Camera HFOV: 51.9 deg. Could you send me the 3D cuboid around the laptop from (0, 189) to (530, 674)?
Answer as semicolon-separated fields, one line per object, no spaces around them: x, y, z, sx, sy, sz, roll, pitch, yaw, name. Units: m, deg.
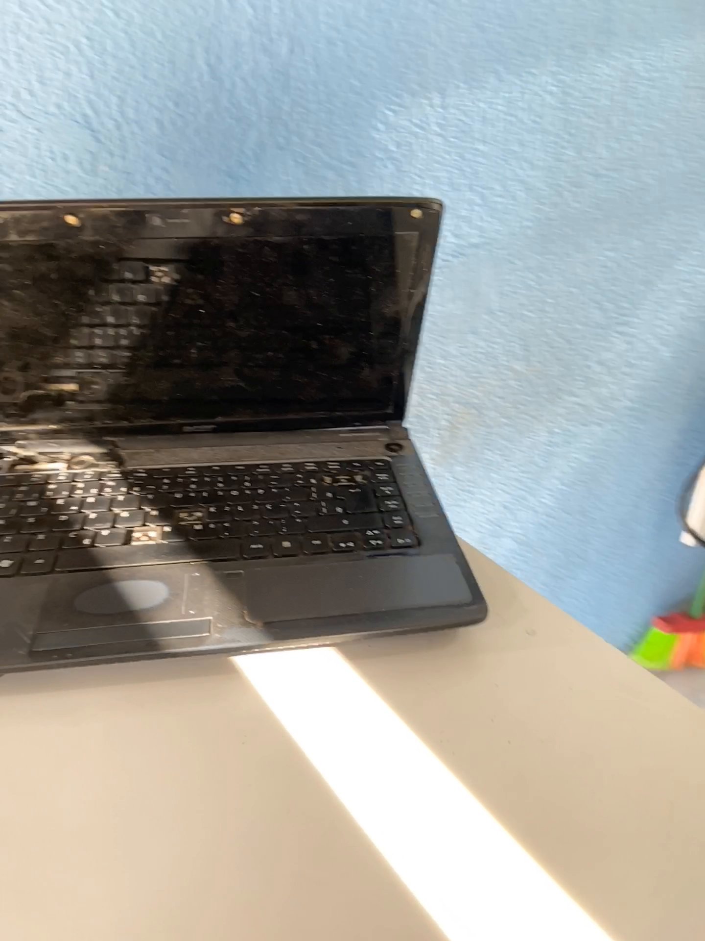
-0.108;-0.048;0.432;0.334;0.182;0.229;-3;31;-7;laptop
